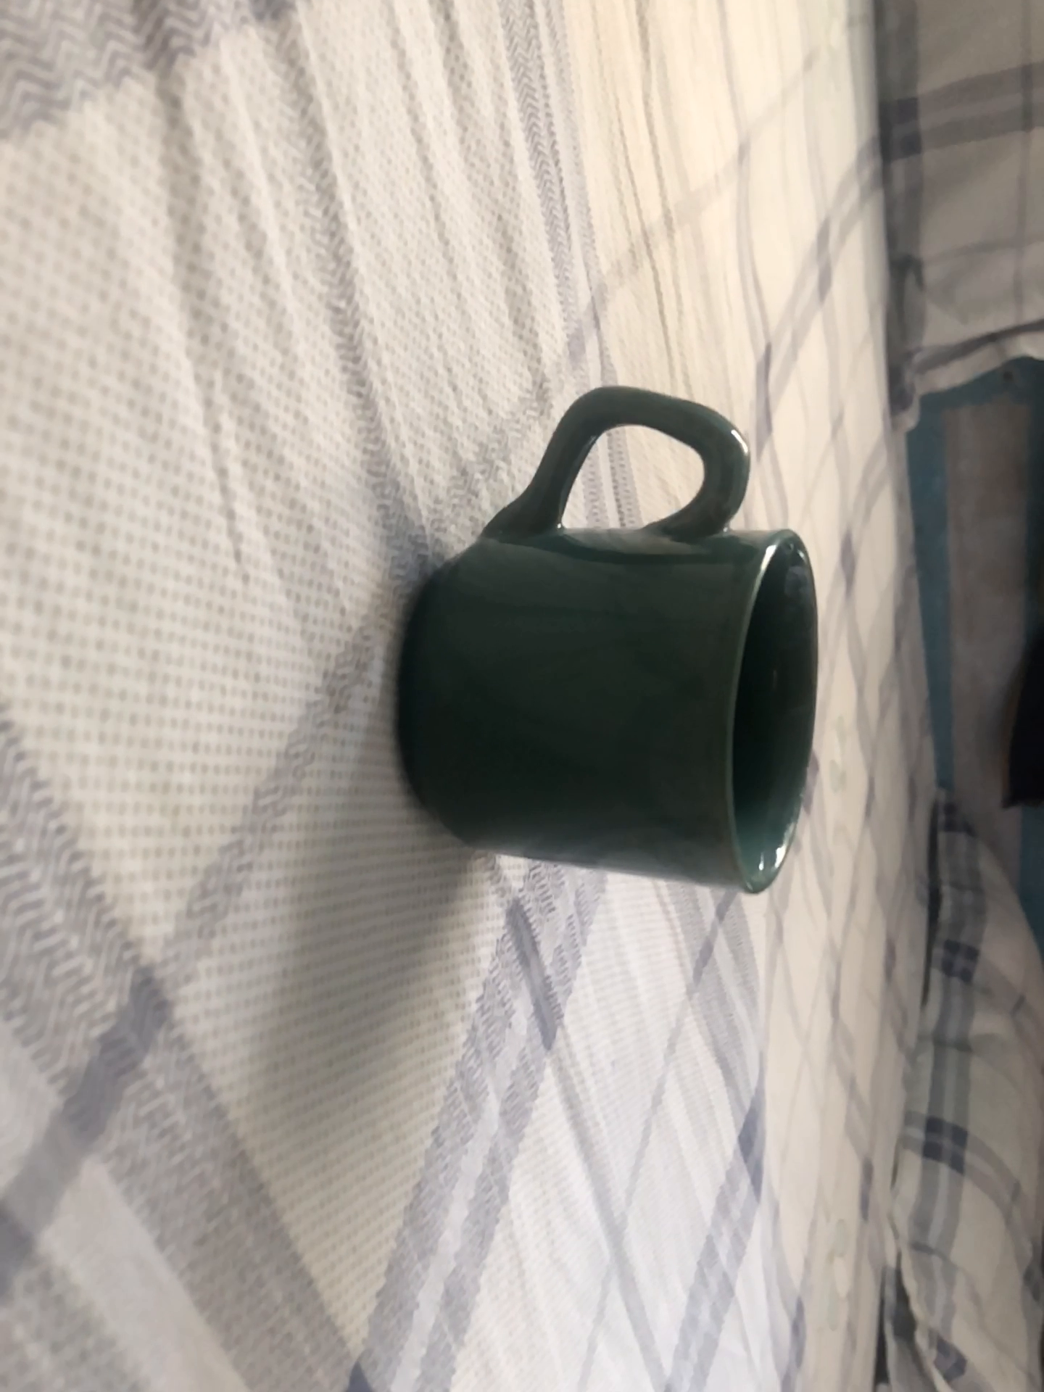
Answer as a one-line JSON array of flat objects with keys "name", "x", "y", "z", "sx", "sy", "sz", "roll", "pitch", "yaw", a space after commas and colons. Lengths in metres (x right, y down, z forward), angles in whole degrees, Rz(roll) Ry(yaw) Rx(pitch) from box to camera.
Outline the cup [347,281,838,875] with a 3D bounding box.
[{"name": "cup", "x": 0.018, "y": -0.013, "z": 0.200, "sx": 0.070, "sy": 0.060, "sz": 0.080, "roll": 25, "pitch": 67, "yaw": -65}]
